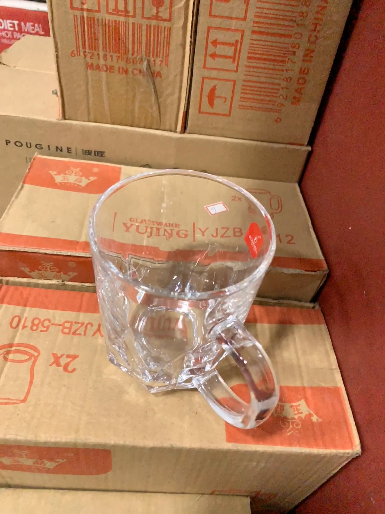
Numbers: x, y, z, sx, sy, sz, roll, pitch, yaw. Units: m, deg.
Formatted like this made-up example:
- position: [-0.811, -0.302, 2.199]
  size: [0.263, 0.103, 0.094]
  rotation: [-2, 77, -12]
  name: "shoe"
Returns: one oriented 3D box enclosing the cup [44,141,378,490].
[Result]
- position: [-0.001, 0.015, 0.164]
  size: [0.069, 0.071, 0.100]
  rotation: [-24, 52, -30]
  name: "cup"
